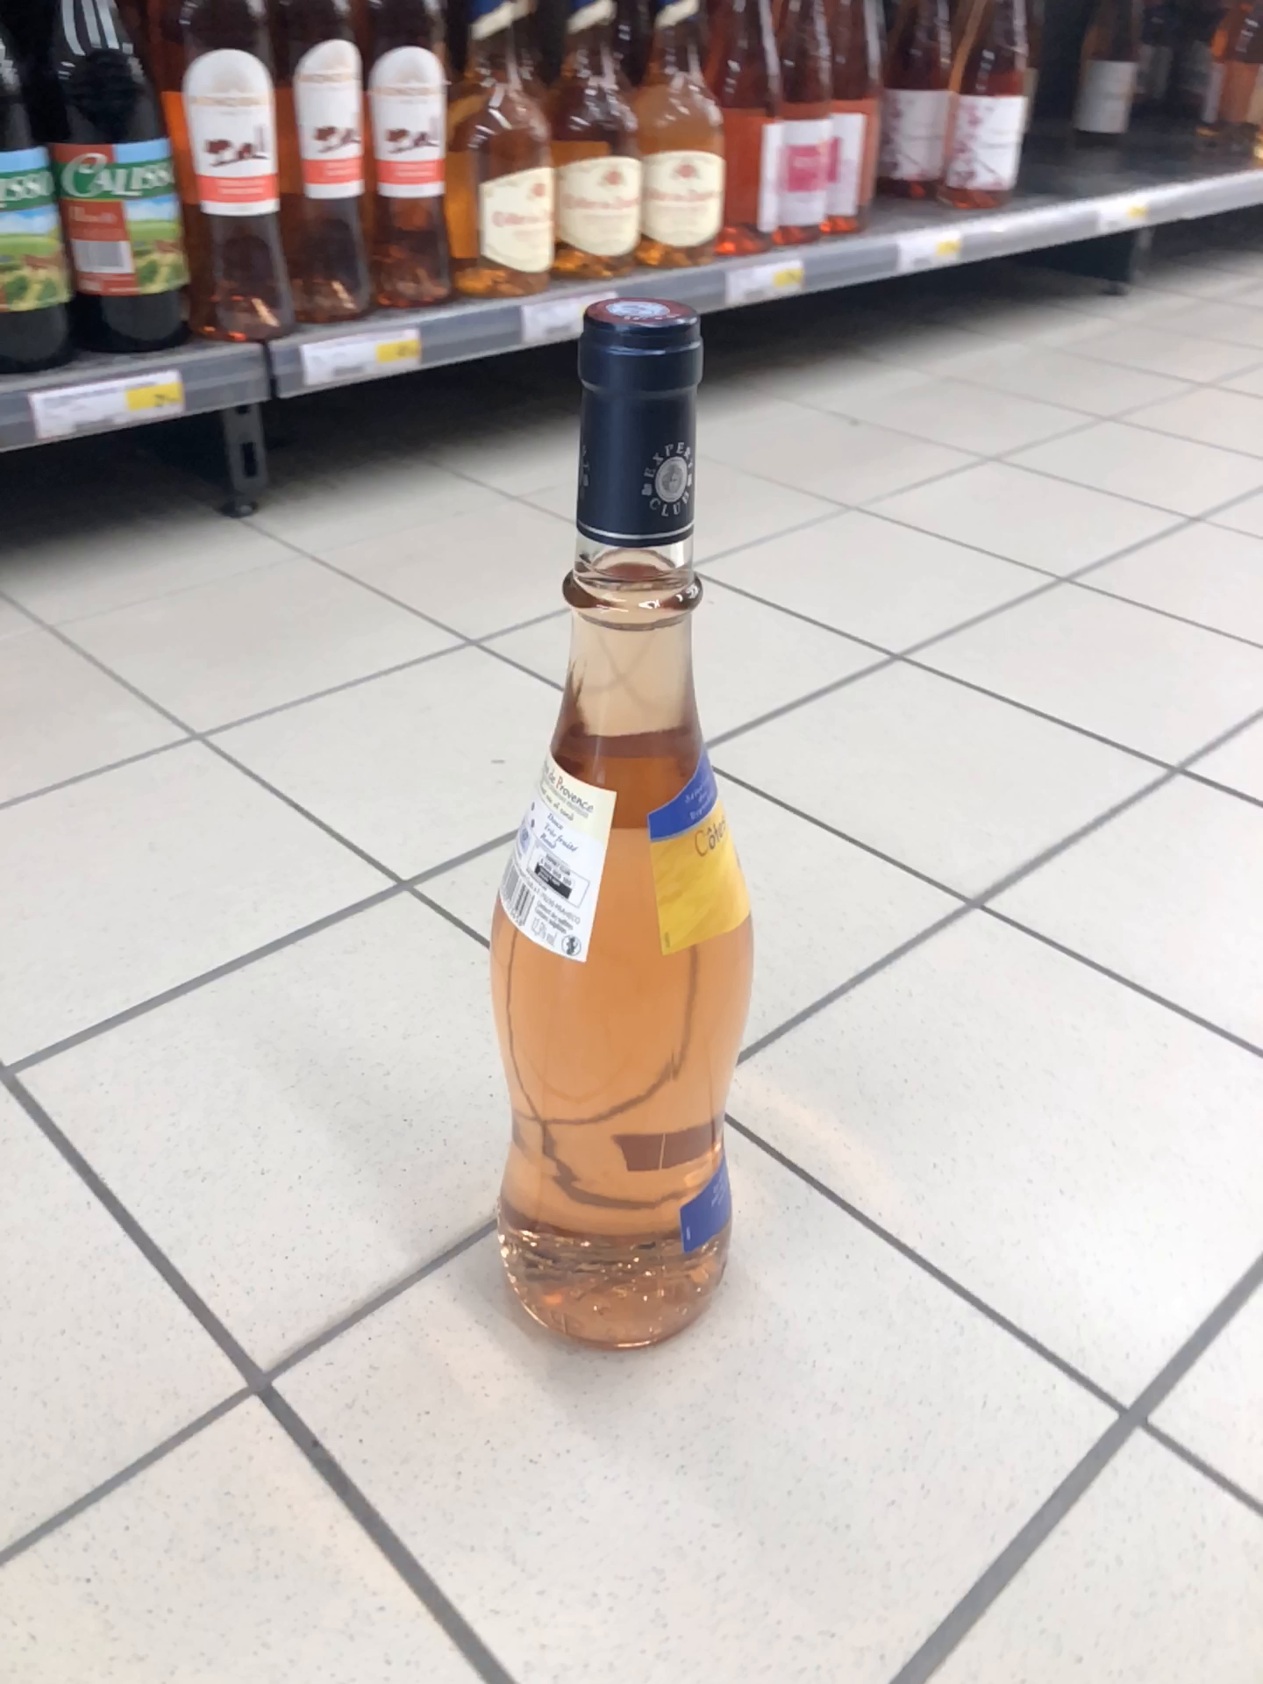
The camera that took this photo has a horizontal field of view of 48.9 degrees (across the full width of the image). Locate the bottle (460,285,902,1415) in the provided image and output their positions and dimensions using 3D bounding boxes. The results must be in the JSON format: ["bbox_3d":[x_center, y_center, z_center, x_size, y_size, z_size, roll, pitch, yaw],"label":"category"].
[{"bbox_3d":[0.003,0.018,0.401,0.080,0.318,0.090,-6,33,-12],"label":"bottle"}]
